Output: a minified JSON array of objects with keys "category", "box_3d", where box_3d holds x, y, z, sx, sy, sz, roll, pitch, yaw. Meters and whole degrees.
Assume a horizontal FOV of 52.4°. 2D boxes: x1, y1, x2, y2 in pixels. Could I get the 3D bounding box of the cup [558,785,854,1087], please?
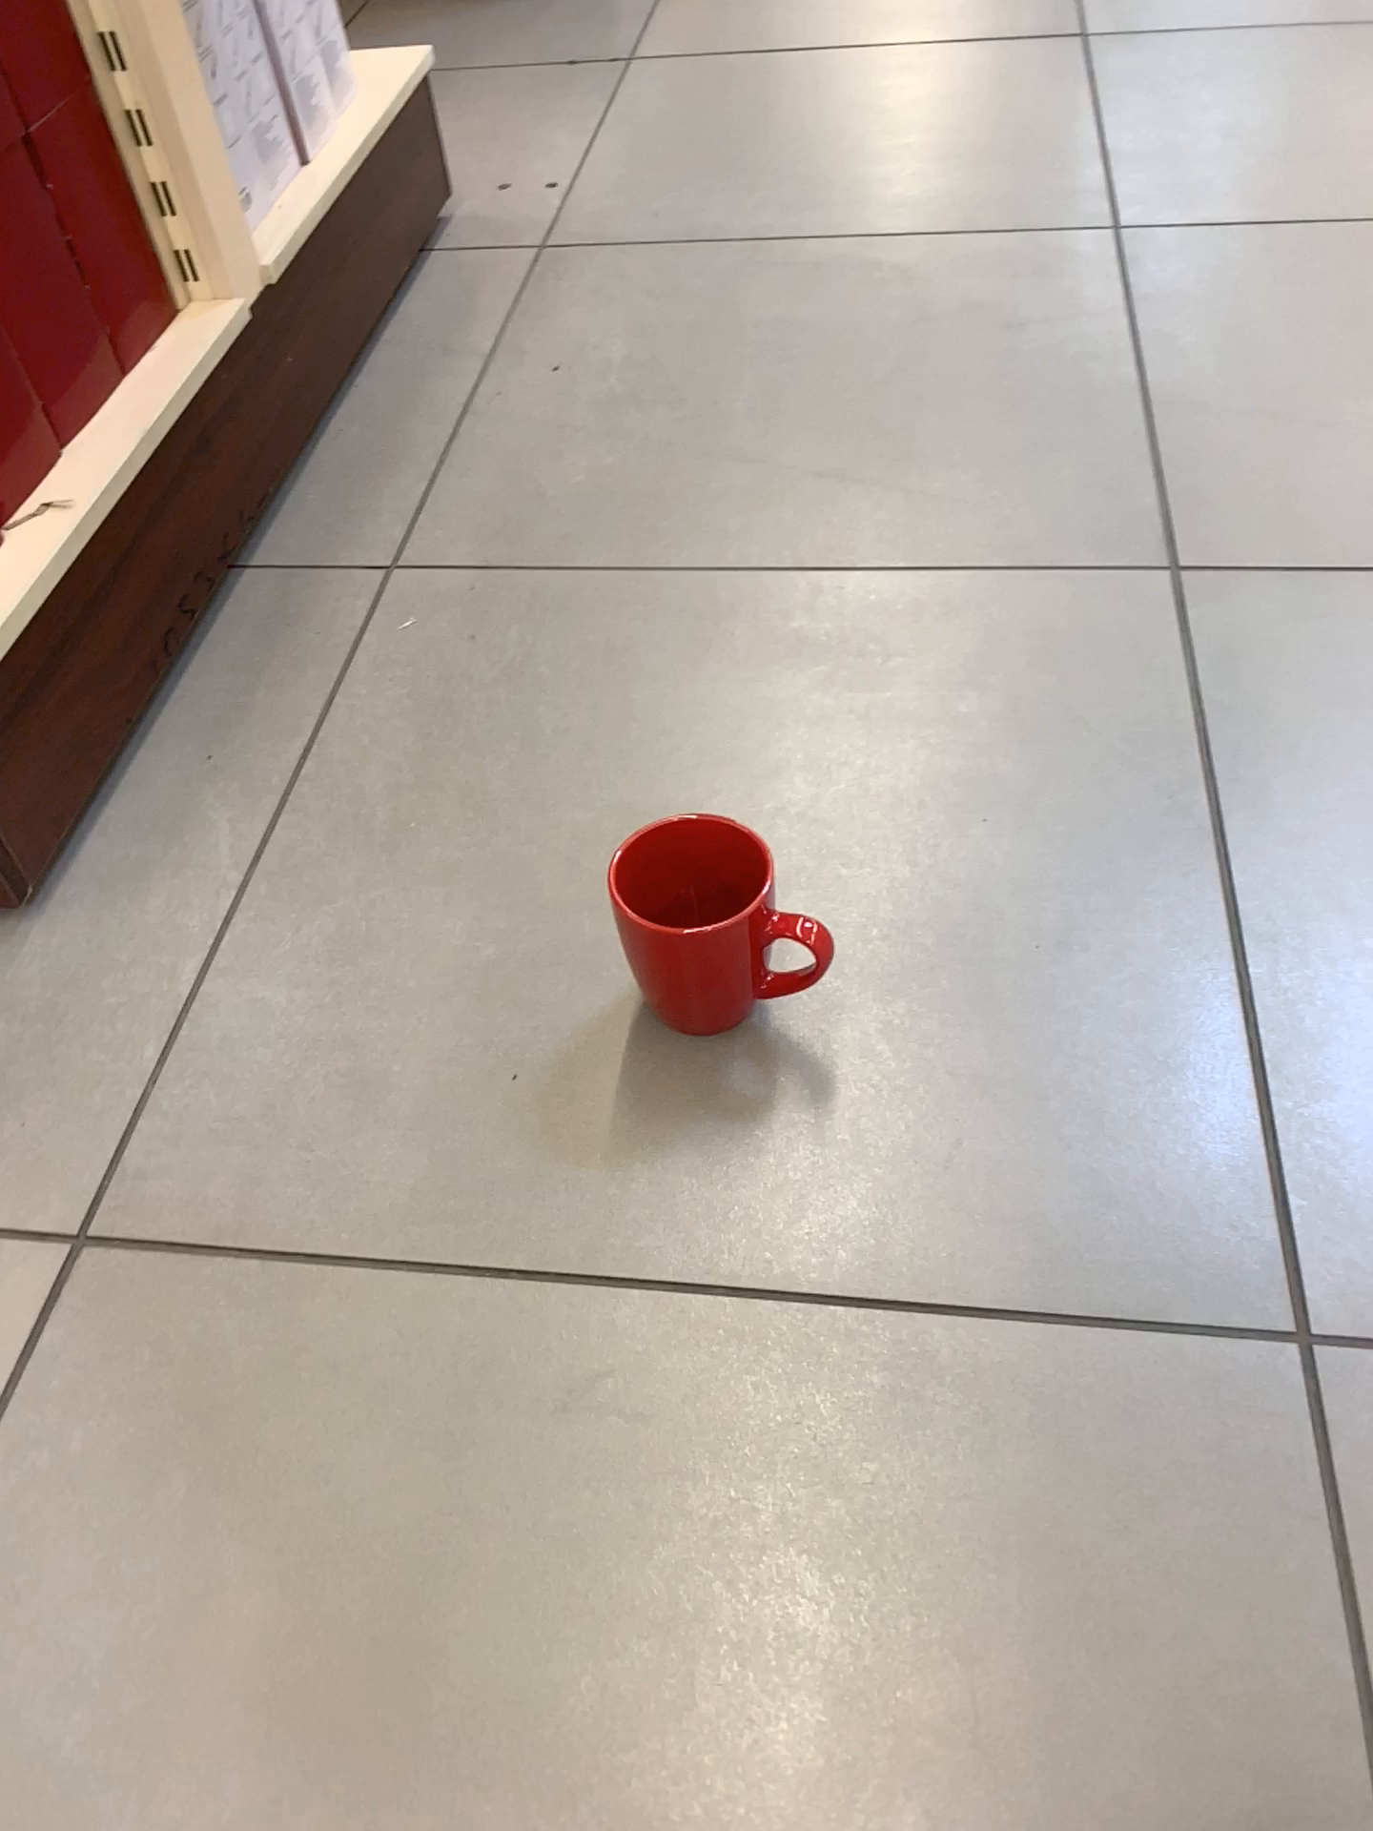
[{"category":"cup","box_3d":[0.014,0.009,0.729,0.120,0.090,0.090,18,52,22]}]
